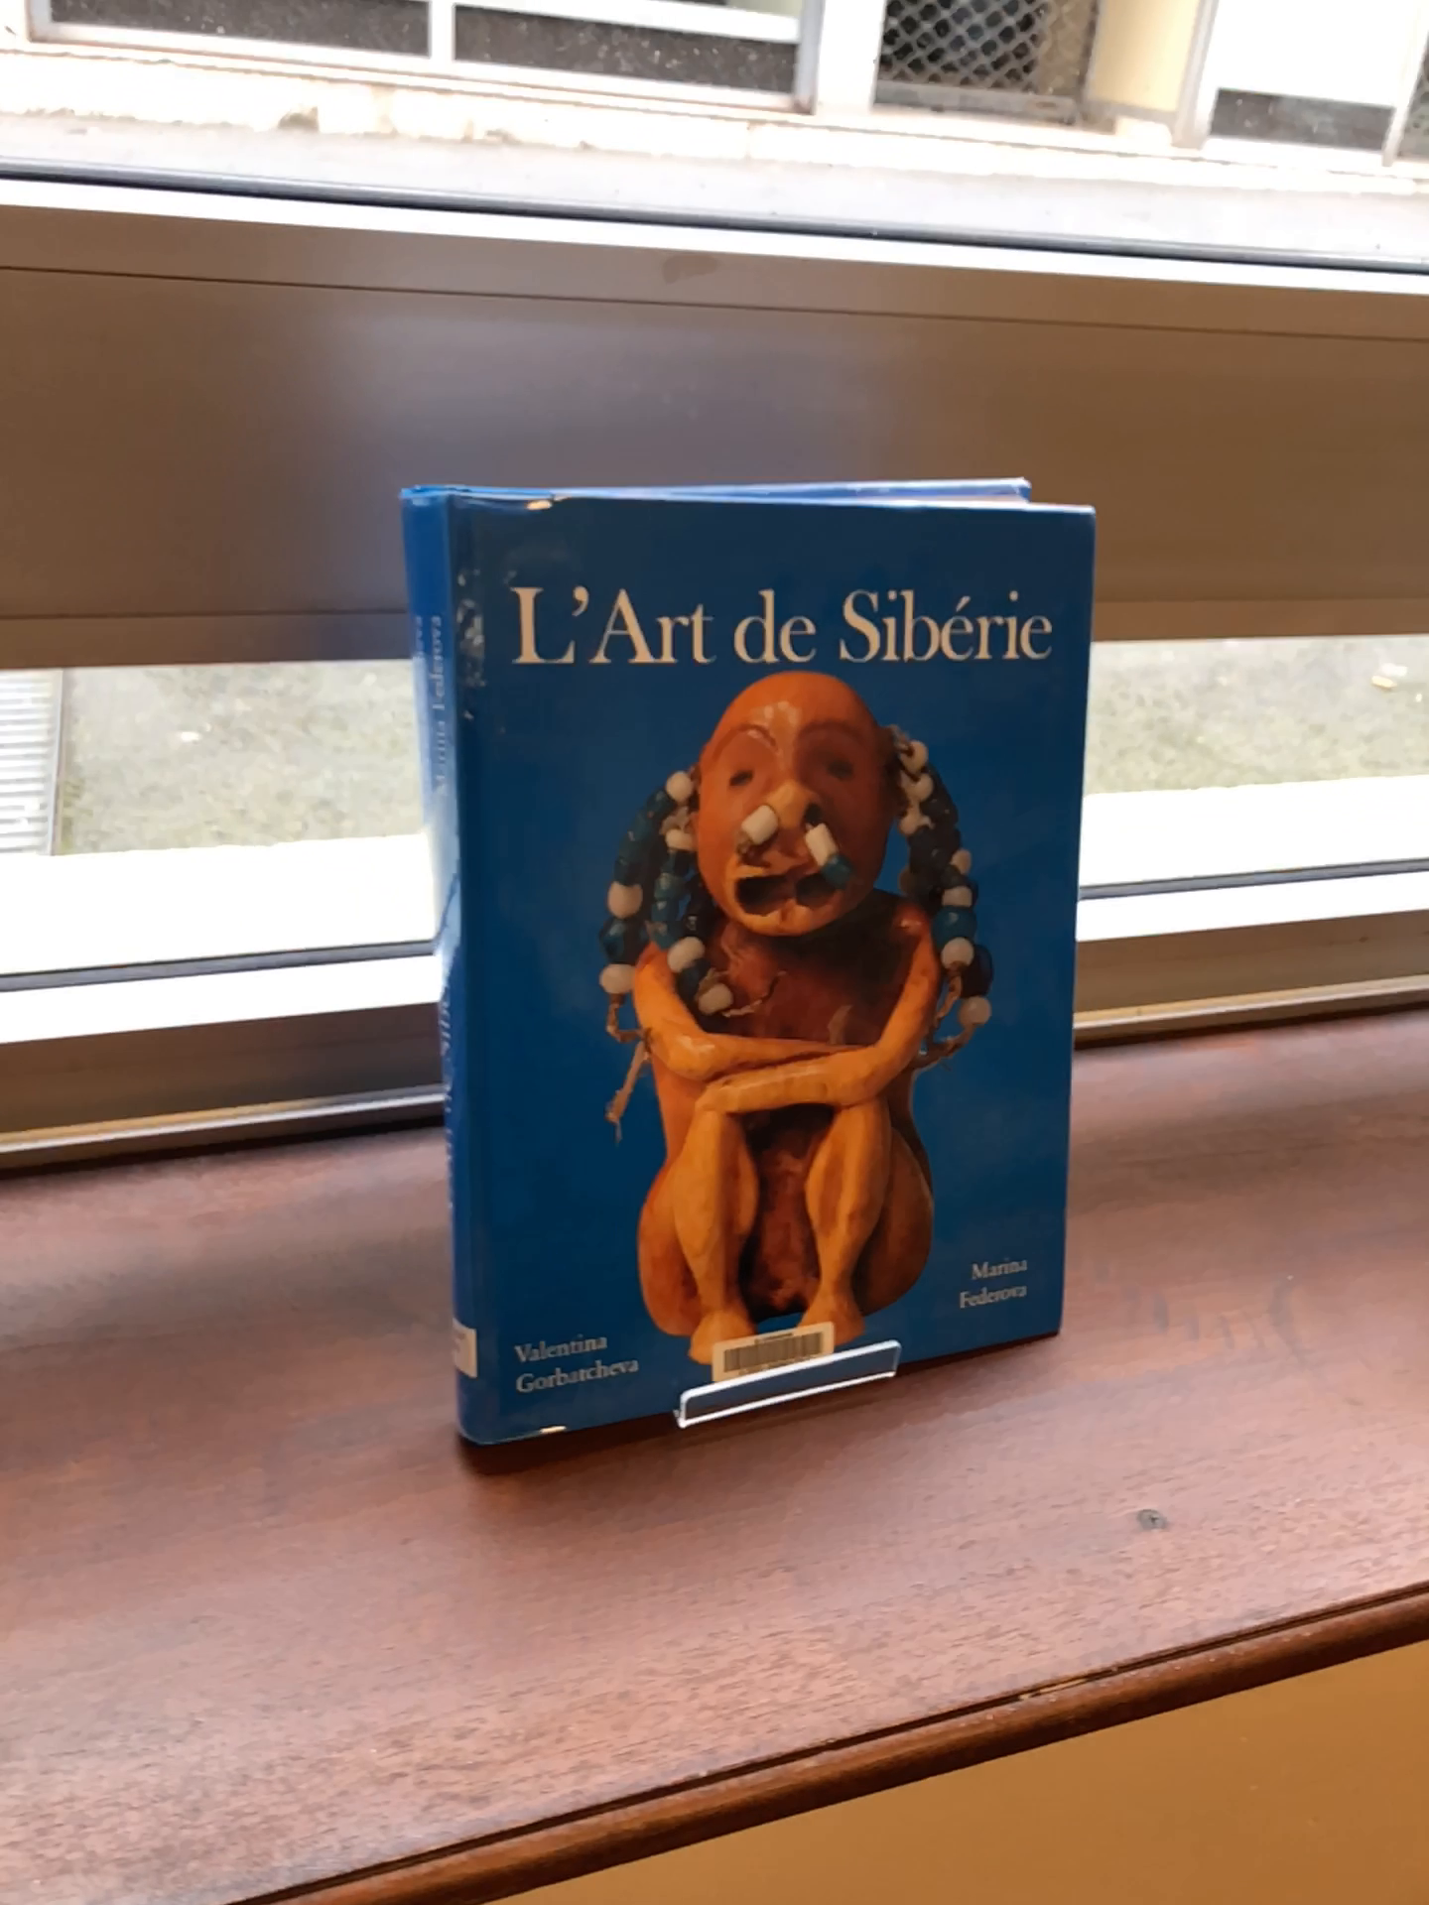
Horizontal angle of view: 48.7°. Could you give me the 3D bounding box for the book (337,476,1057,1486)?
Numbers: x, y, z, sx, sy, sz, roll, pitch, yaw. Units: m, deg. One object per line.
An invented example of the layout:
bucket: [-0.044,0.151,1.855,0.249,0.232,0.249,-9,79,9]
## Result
book: [0.003,0.004,0.594,0.254,0.349,0.044,-6,14,-21]
